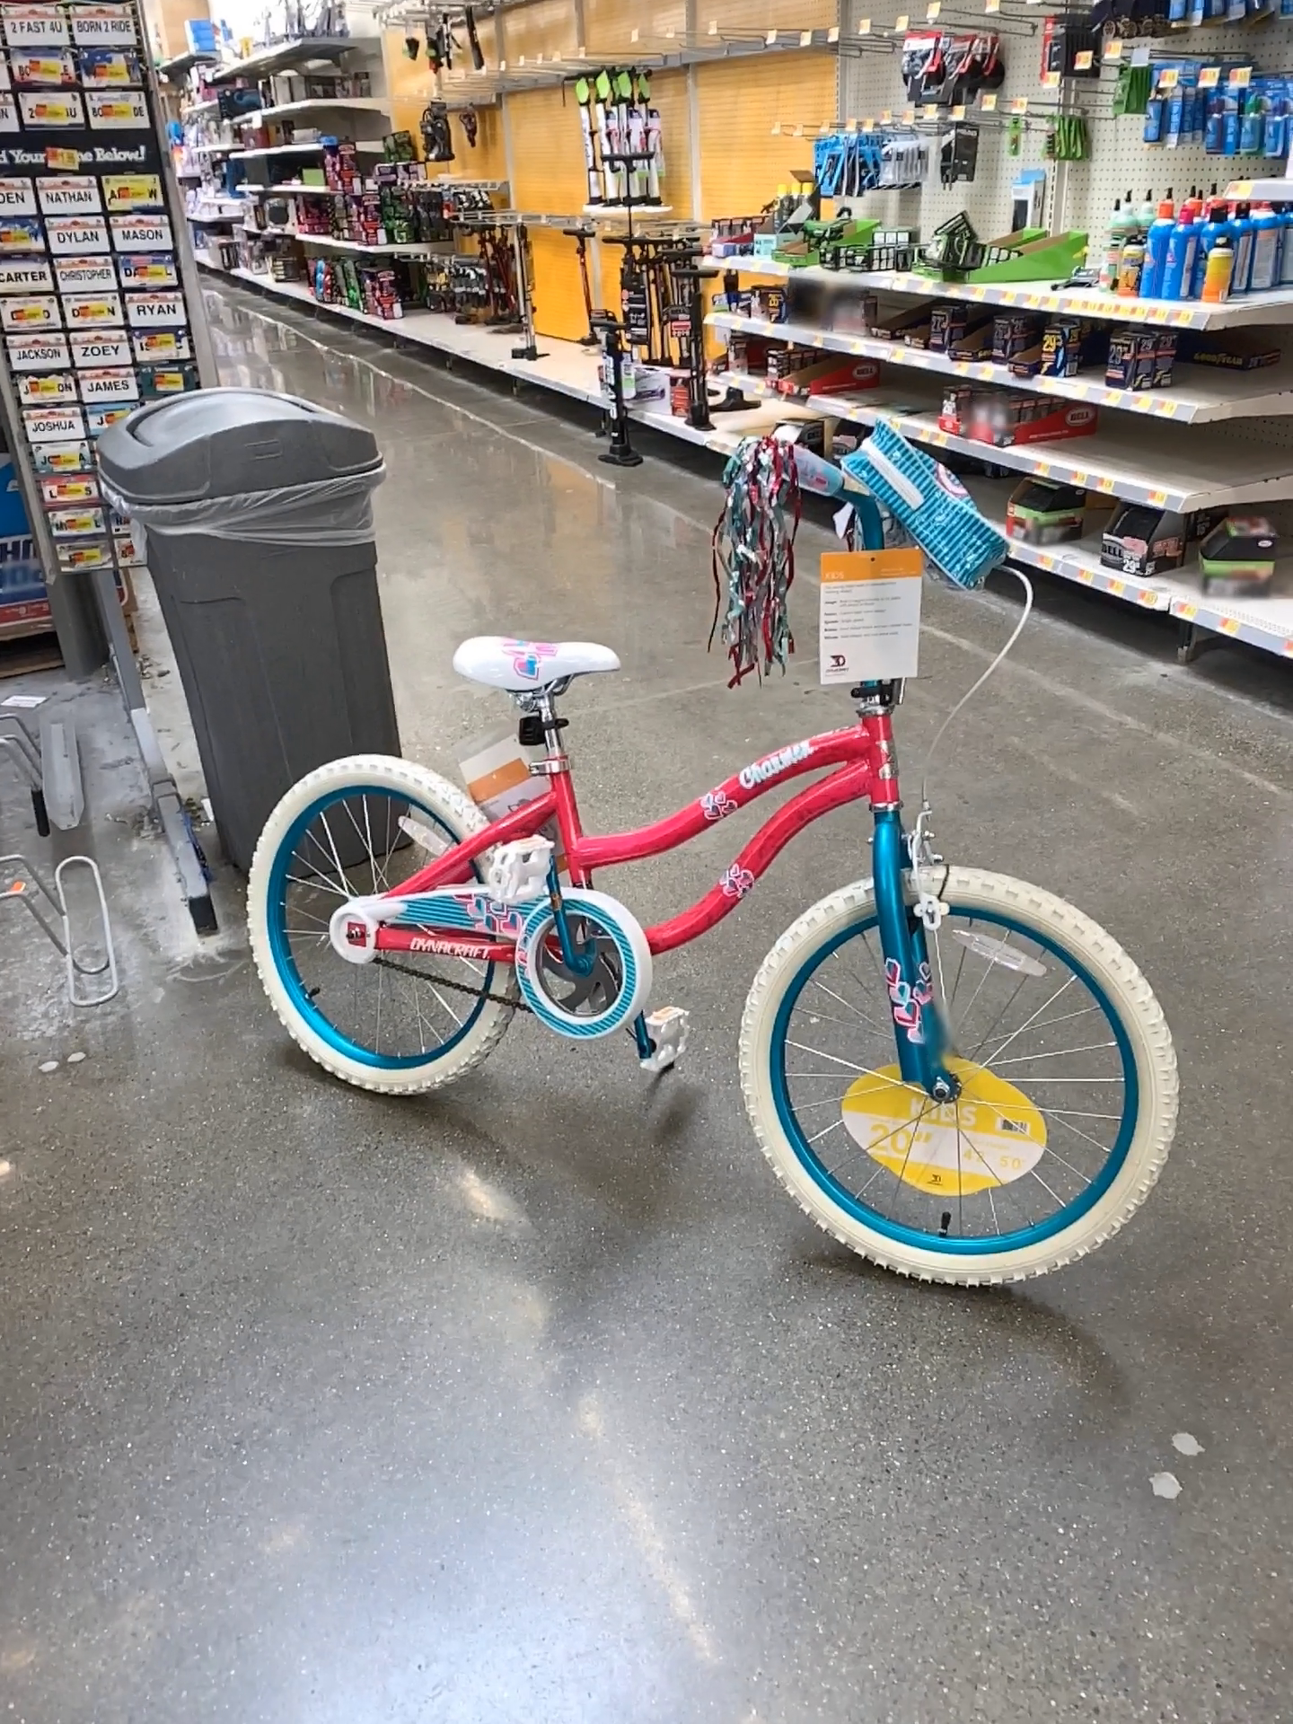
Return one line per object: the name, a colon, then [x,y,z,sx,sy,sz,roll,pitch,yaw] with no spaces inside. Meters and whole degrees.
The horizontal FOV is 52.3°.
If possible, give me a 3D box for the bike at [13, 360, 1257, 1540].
bike: [0.004,-0.025,1.666,1.260,0.929,0.656,13,31,22]
